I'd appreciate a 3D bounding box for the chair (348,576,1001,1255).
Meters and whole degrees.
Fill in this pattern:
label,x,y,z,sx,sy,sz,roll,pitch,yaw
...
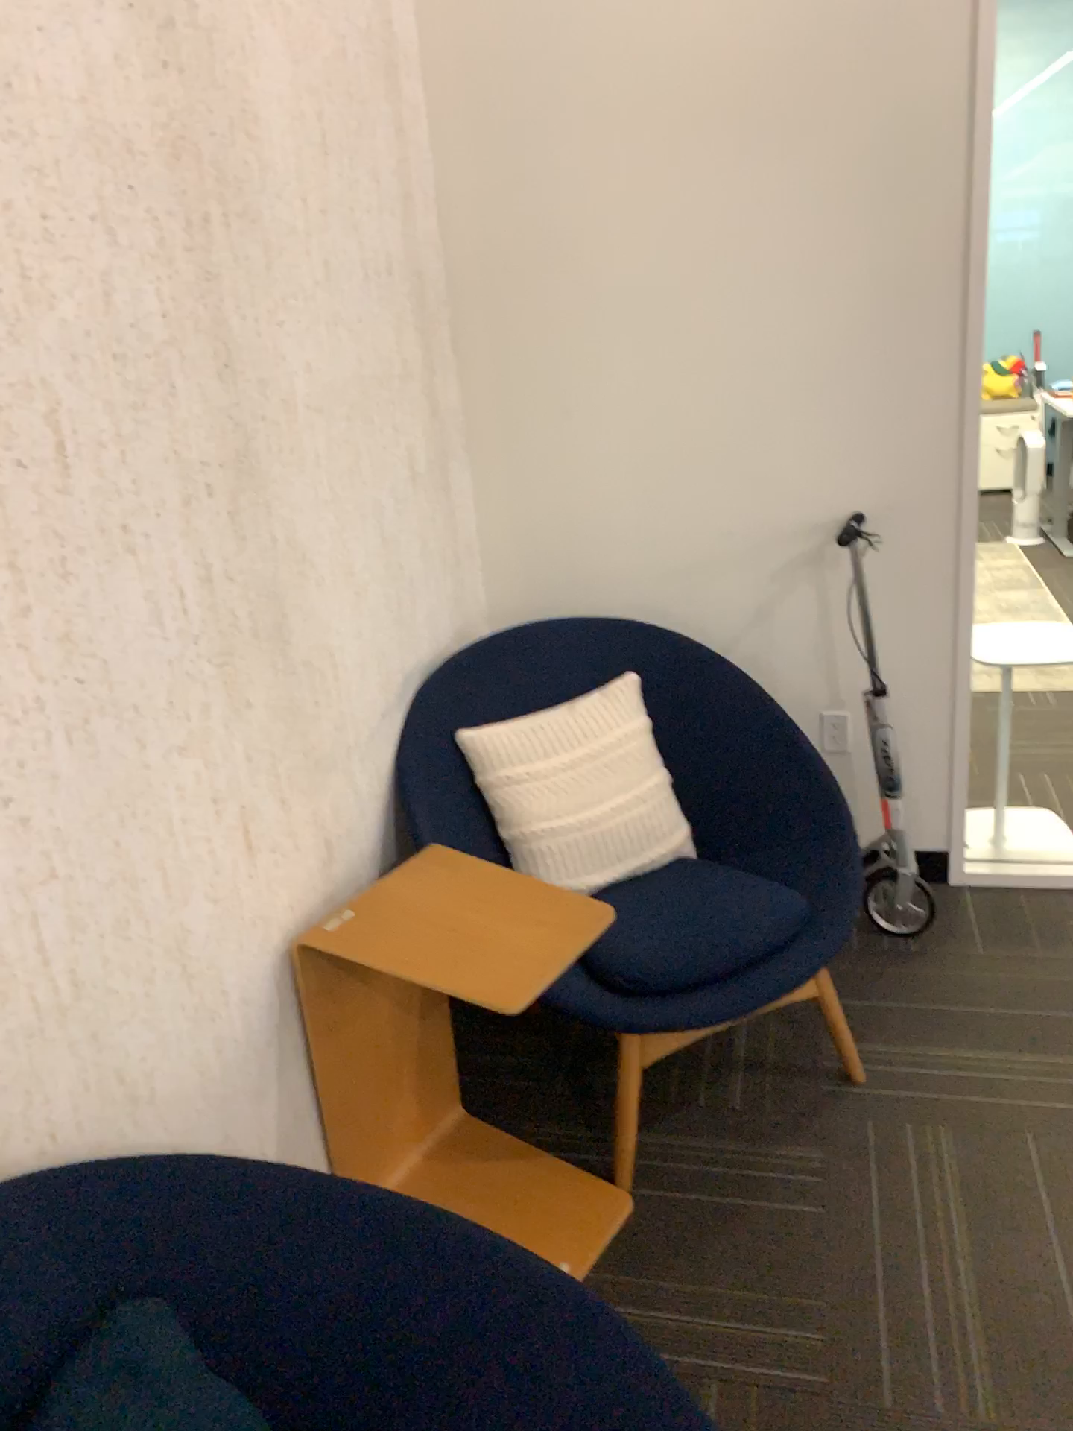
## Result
label,x,y,z,sx,sy,sz,roll,pitch,yaw
chair,0.246,0.278,2.215,0.890,0.816,0.884,-16,23,-24
